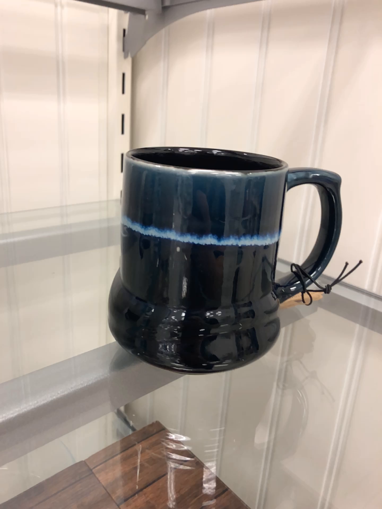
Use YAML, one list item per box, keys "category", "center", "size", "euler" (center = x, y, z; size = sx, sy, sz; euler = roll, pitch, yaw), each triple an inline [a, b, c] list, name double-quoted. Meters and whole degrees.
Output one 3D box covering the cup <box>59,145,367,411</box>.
- category: "cup"
  center: [0.004, -0.001, 0.254]
  size: [0.140, 0.109, 0.101]
  euler: [-5, 22, -26]
